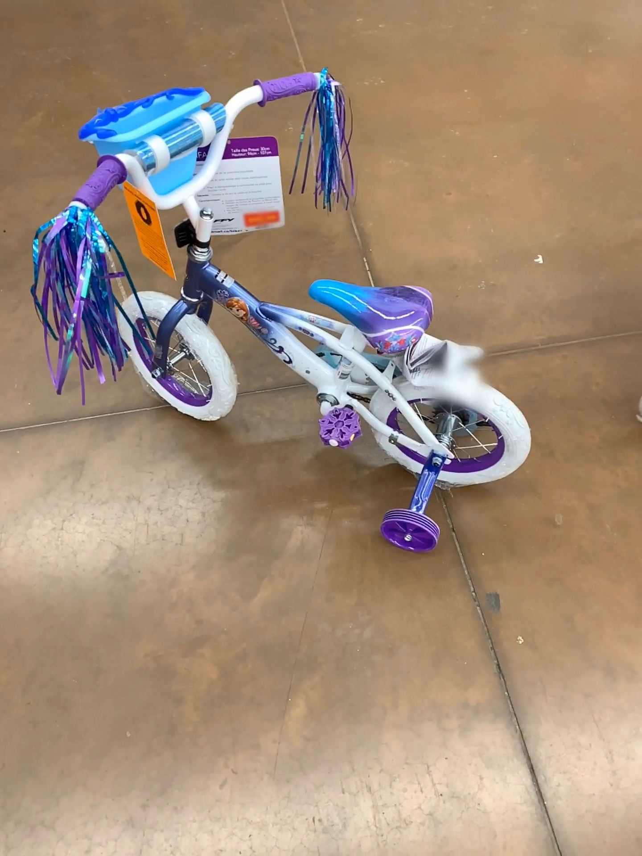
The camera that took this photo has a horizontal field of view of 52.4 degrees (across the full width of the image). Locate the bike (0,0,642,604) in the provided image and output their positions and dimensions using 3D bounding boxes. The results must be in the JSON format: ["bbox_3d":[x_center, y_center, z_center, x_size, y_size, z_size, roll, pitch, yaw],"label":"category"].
[{"bbox_3d":[-0.031,-0.179,1.019,0.805,0.634,0.441,19,58,10],"label":"bike"}]
